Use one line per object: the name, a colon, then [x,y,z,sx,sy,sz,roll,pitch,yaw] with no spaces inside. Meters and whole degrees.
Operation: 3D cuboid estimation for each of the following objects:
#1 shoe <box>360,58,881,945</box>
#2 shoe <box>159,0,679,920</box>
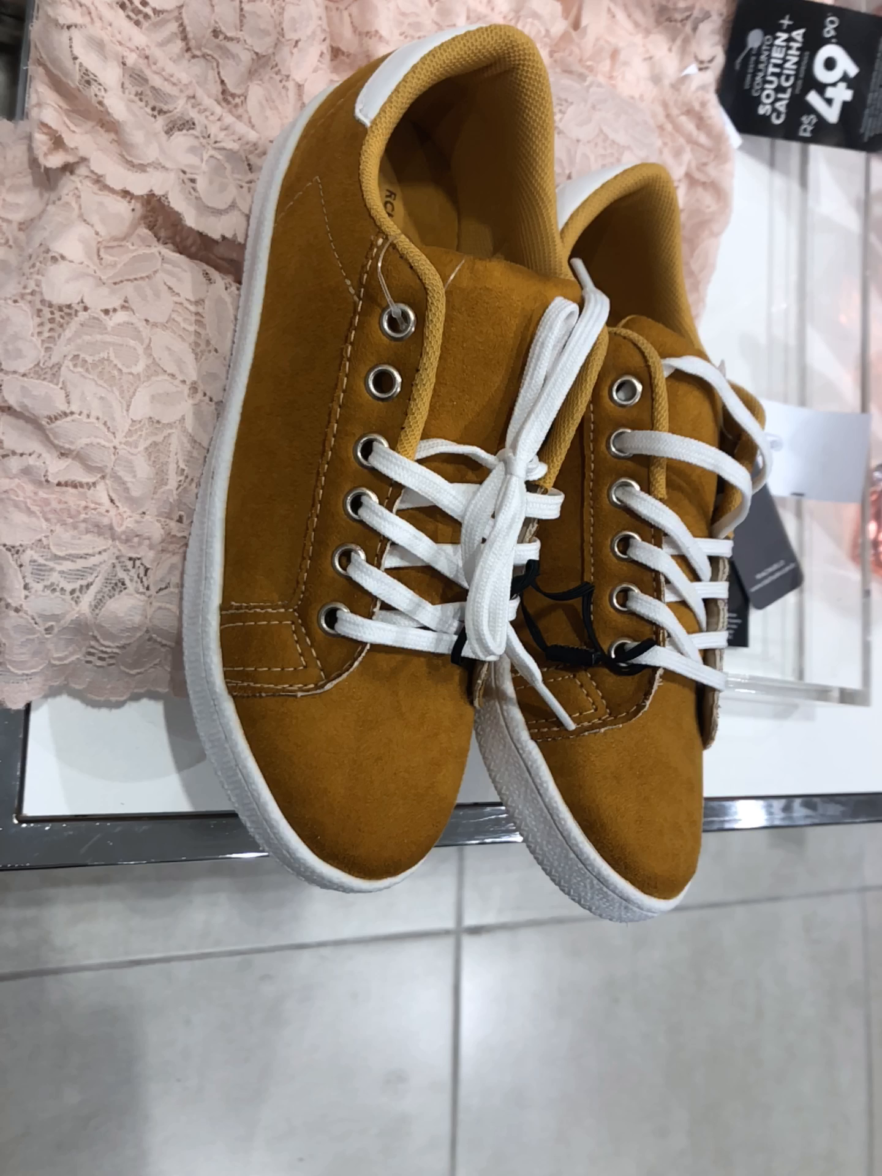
shoe: [0.052,-0.019,0.322,0.101,0.099,0.240,9,71,-45]
shoe: [-0.007,-0.041,0.278,0.090,0.099,0.240,11,74,-45]
